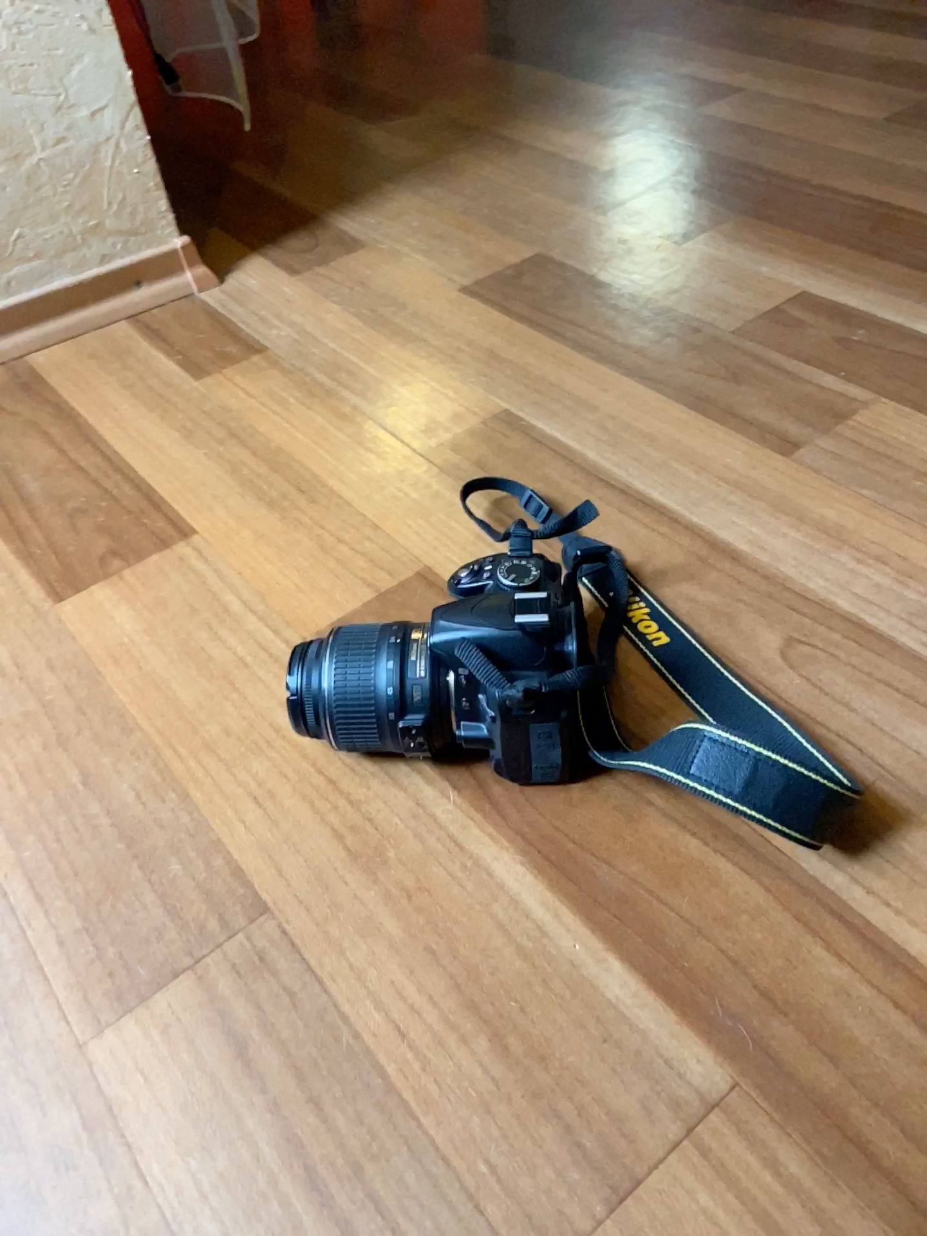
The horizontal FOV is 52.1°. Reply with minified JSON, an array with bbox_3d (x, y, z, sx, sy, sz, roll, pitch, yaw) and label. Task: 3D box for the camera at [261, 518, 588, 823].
[{"bbox_3d":[-0.015,0.028,0.520,0.153,0.100,0.121,-4,44,4],"label":"camera"}]
